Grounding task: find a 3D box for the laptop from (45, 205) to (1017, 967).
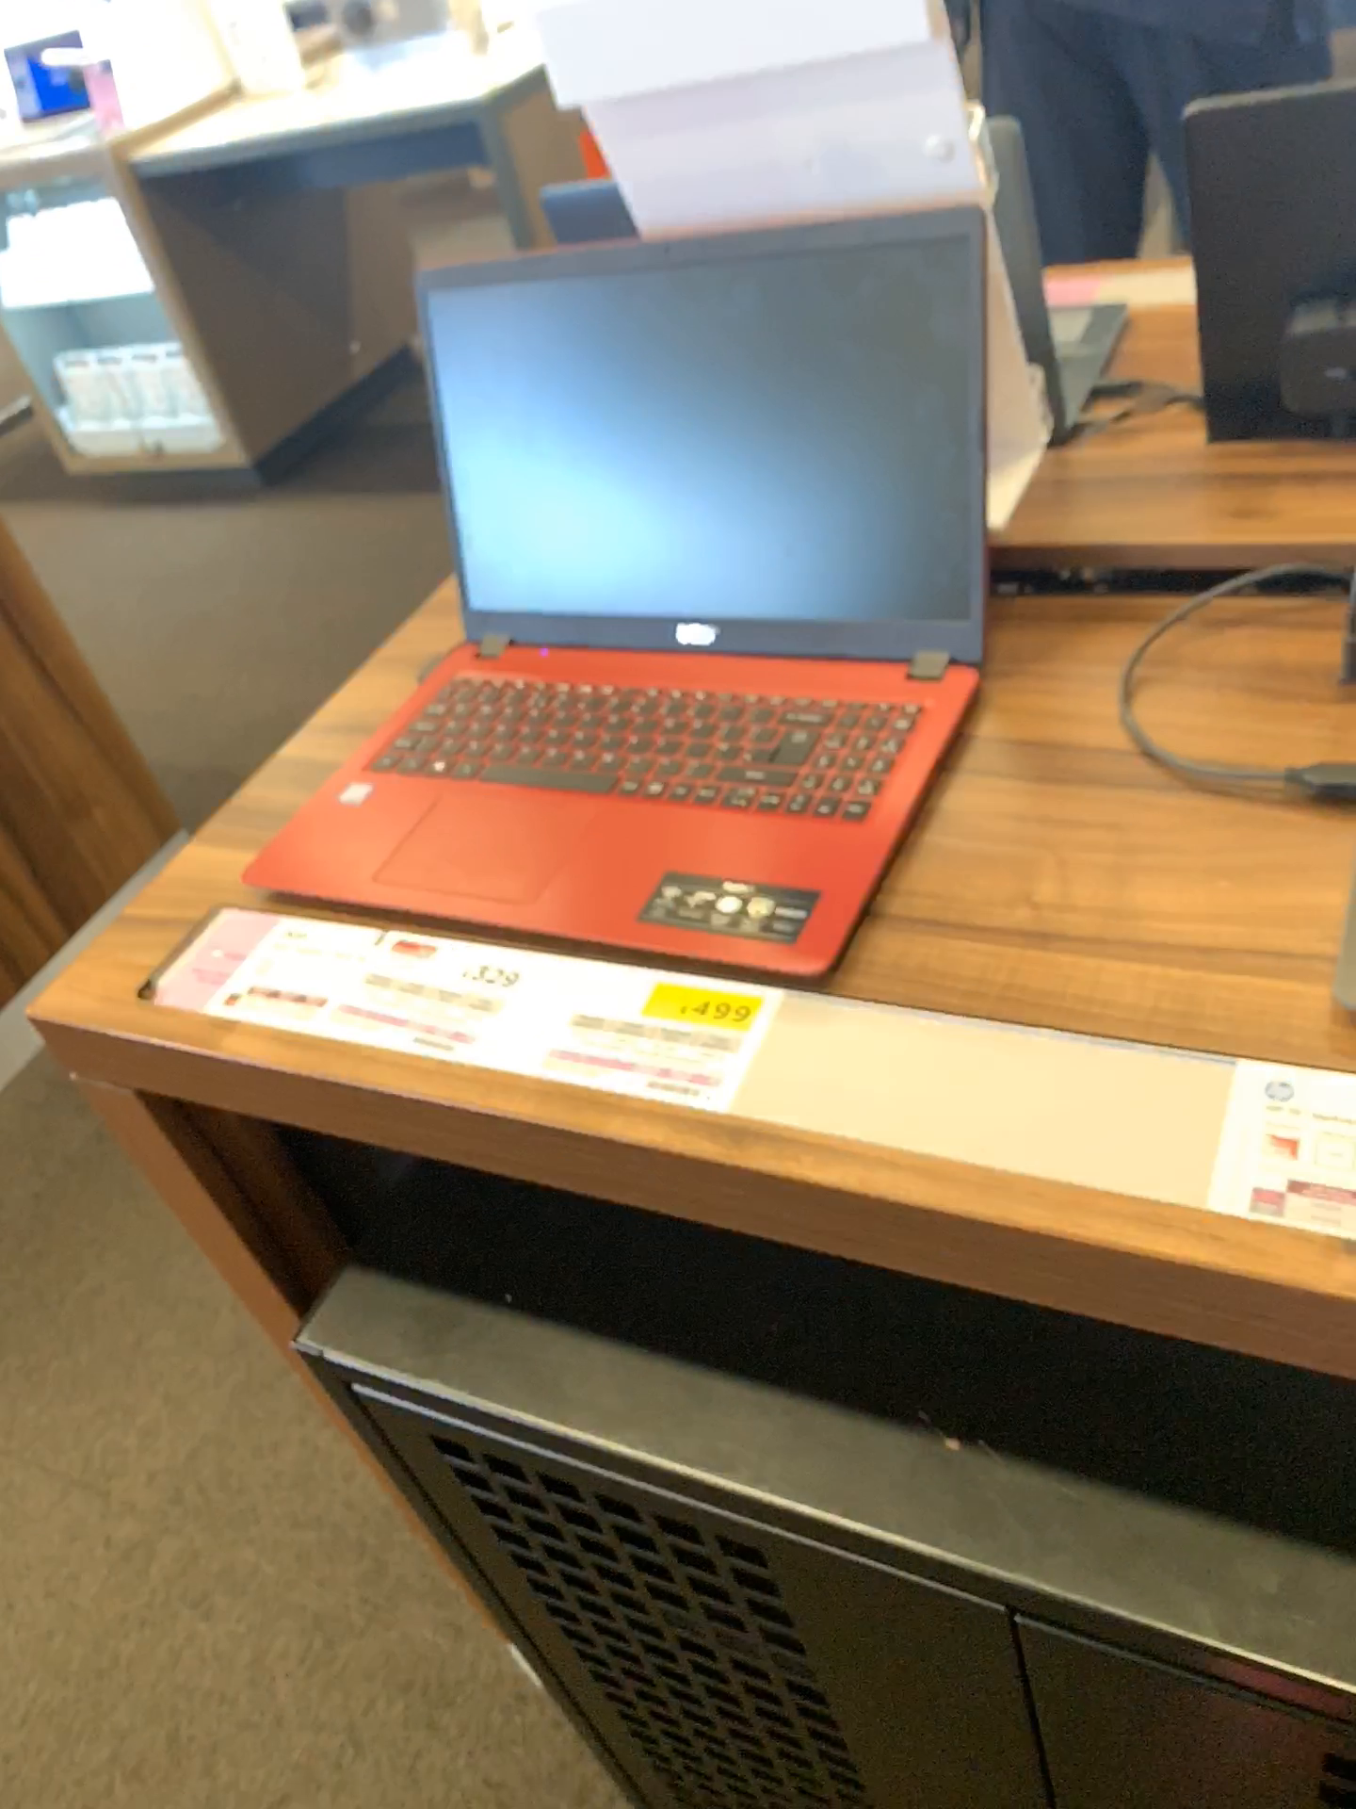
[{"bbox_3d":[-0.049,-0.180,0.743,0.357,0.213,0.323,8,45,28],"label":"laptop"}]
